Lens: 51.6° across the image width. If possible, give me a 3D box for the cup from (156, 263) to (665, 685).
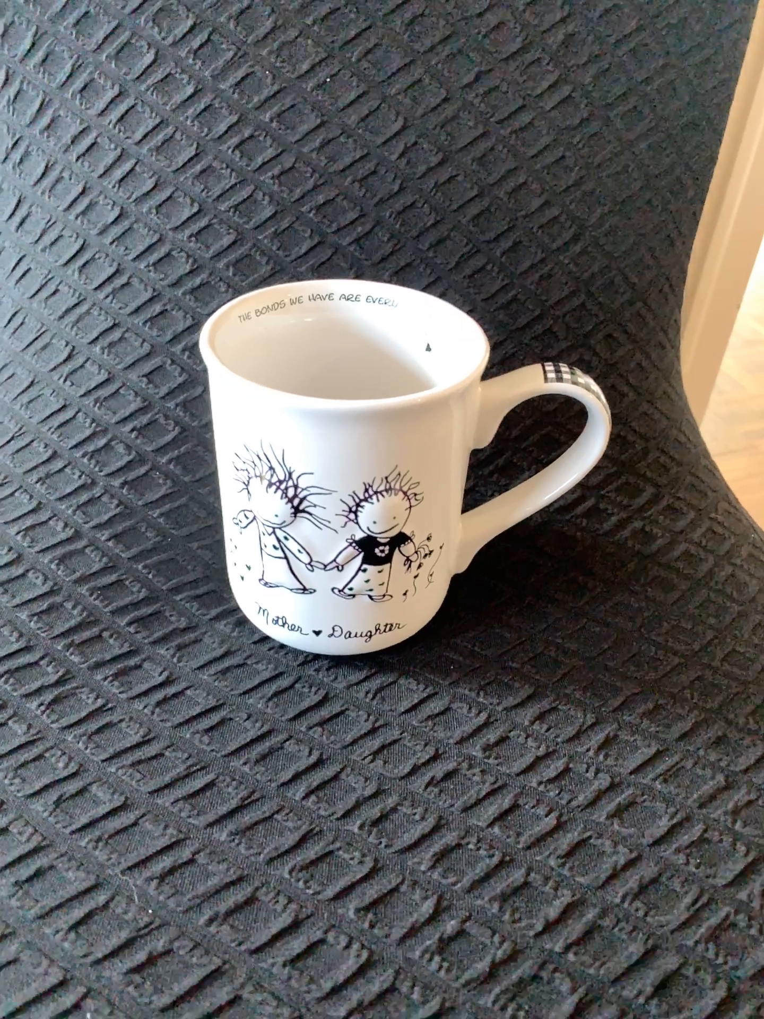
[{"bbox_3d":[0.008,-0.014,0.291,0.140,0.109,0.101,3,39,1],"label":"cup"}]
